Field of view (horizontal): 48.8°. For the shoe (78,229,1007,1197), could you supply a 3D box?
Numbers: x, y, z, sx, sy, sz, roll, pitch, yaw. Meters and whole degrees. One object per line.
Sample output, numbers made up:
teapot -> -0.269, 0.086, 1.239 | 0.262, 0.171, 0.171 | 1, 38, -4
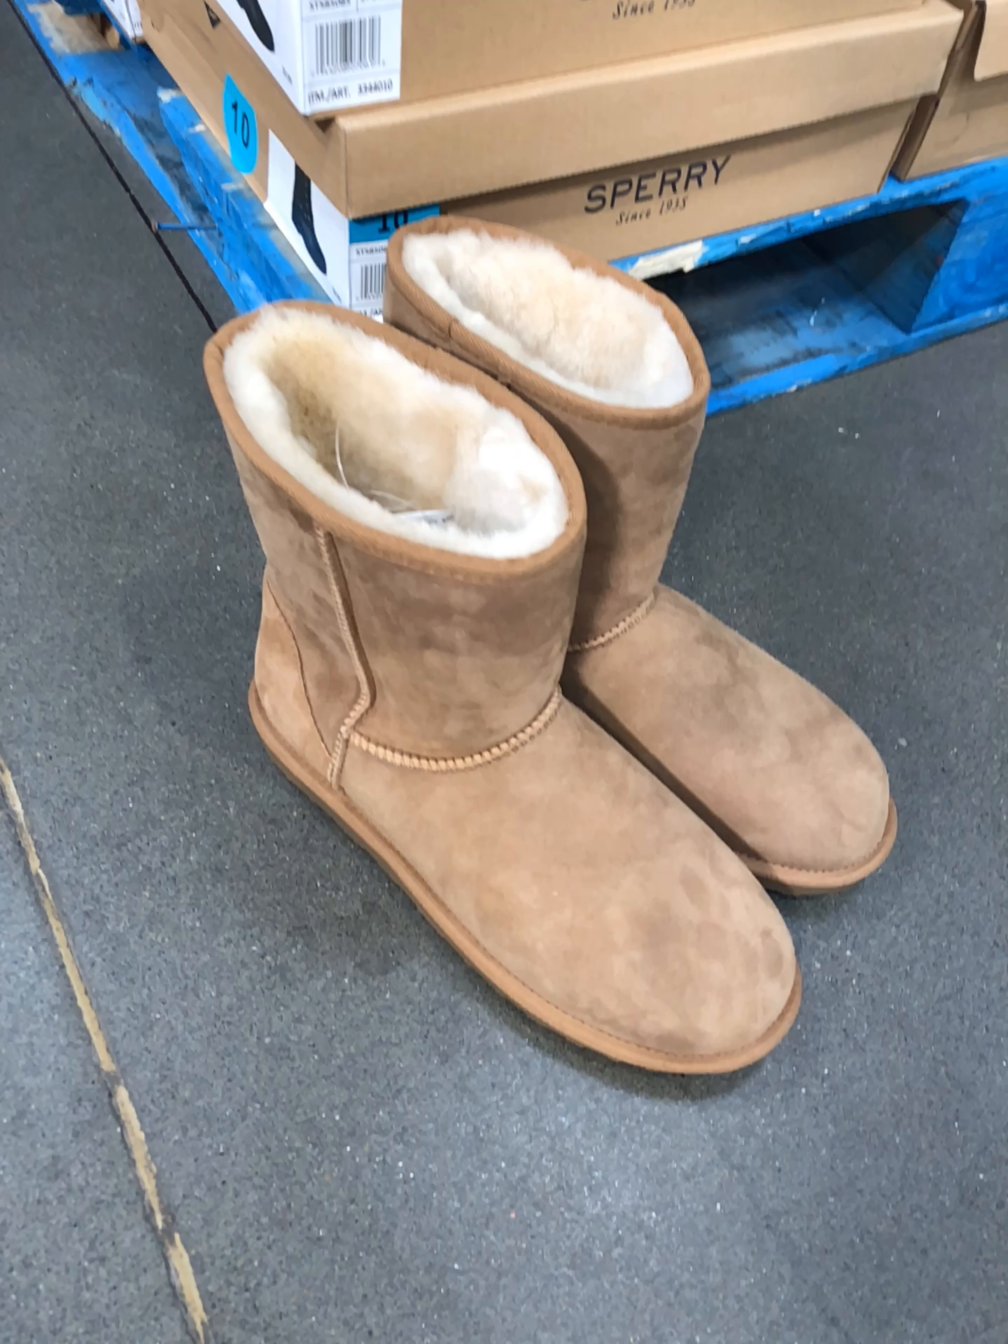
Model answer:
shoe -> 0.008, 0.027, 0.457 | 0.310, 0.259, 0.130 | 35, 58, 18

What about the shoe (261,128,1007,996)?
shoe -> 0.060, -0.040, 0.510 | 0.310, 0.259, 0.130 | 32, 57, 16
